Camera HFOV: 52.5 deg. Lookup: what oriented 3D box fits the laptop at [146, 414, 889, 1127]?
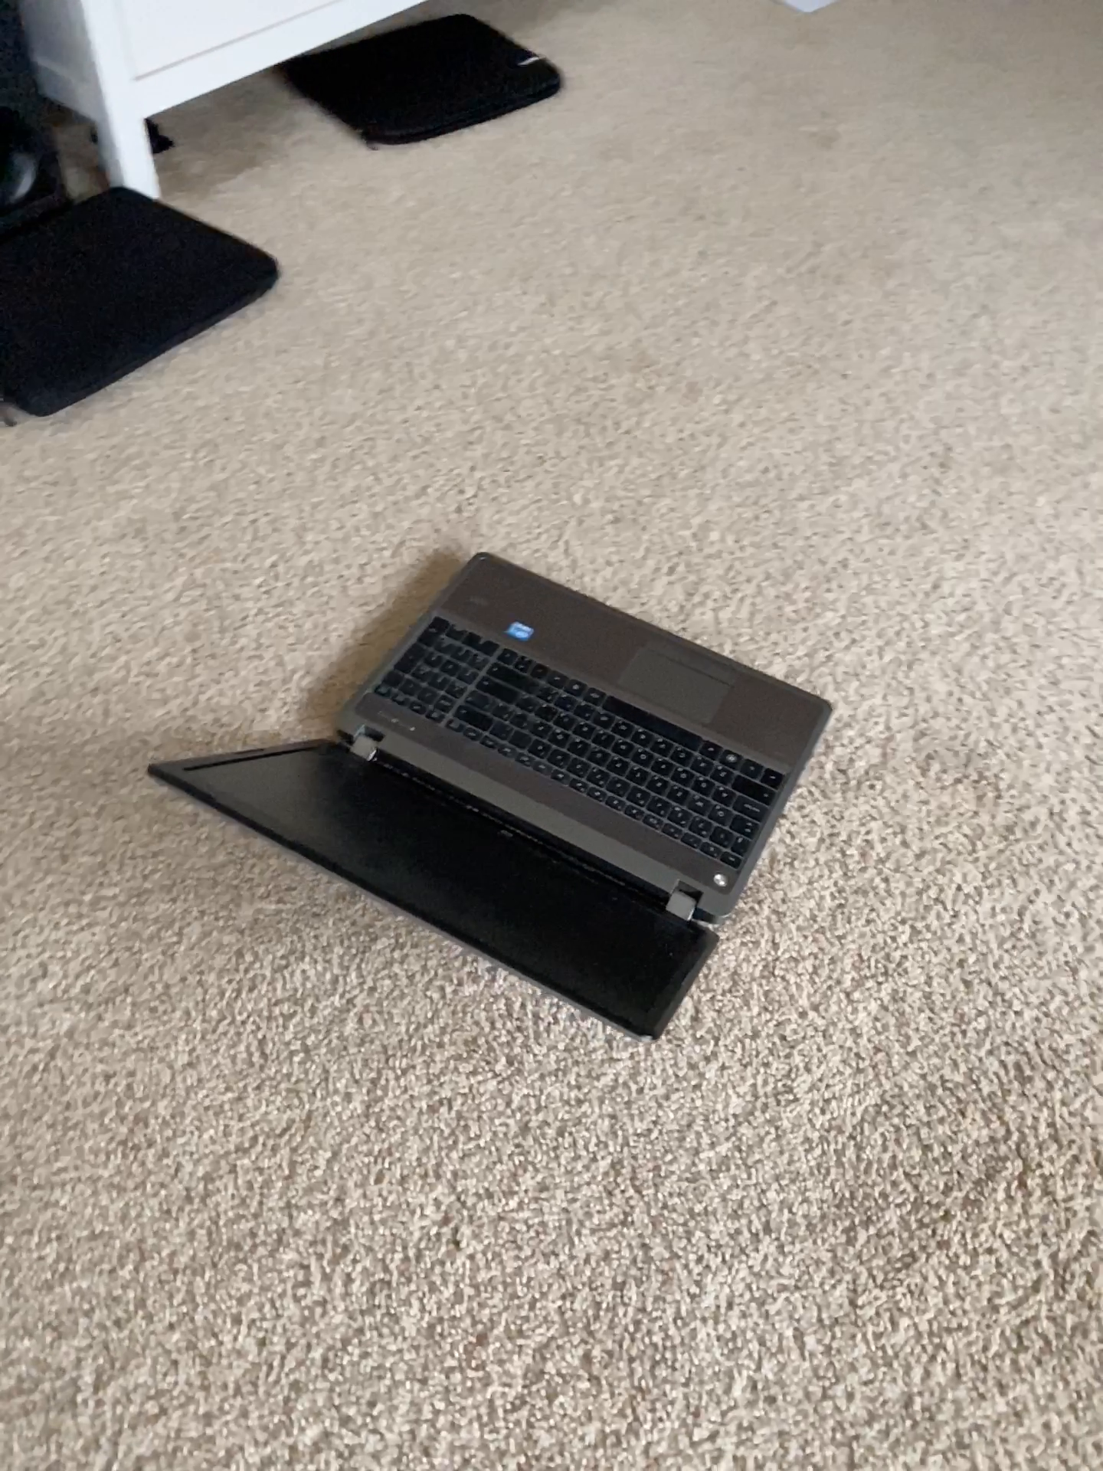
[{"bbox_3d":[-0.005,-0.005,0.875,0.375,0.162,0.436,25,55,14],"label":"laptop"}]
